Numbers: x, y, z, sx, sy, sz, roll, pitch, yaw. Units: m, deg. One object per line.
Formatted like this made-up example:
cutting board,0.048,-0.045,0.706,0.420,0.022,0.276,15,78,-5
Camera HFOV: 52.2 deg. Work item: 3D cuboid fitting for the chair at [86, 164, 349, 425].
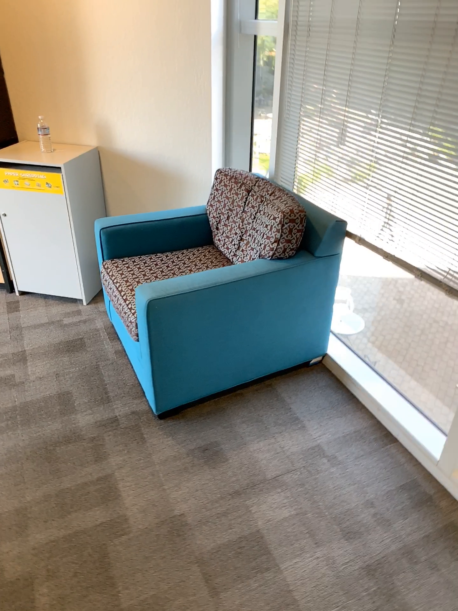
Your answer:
chair,-0.111,-0.144,2.352,0.920,0.825,0.915,-12,33,-21
